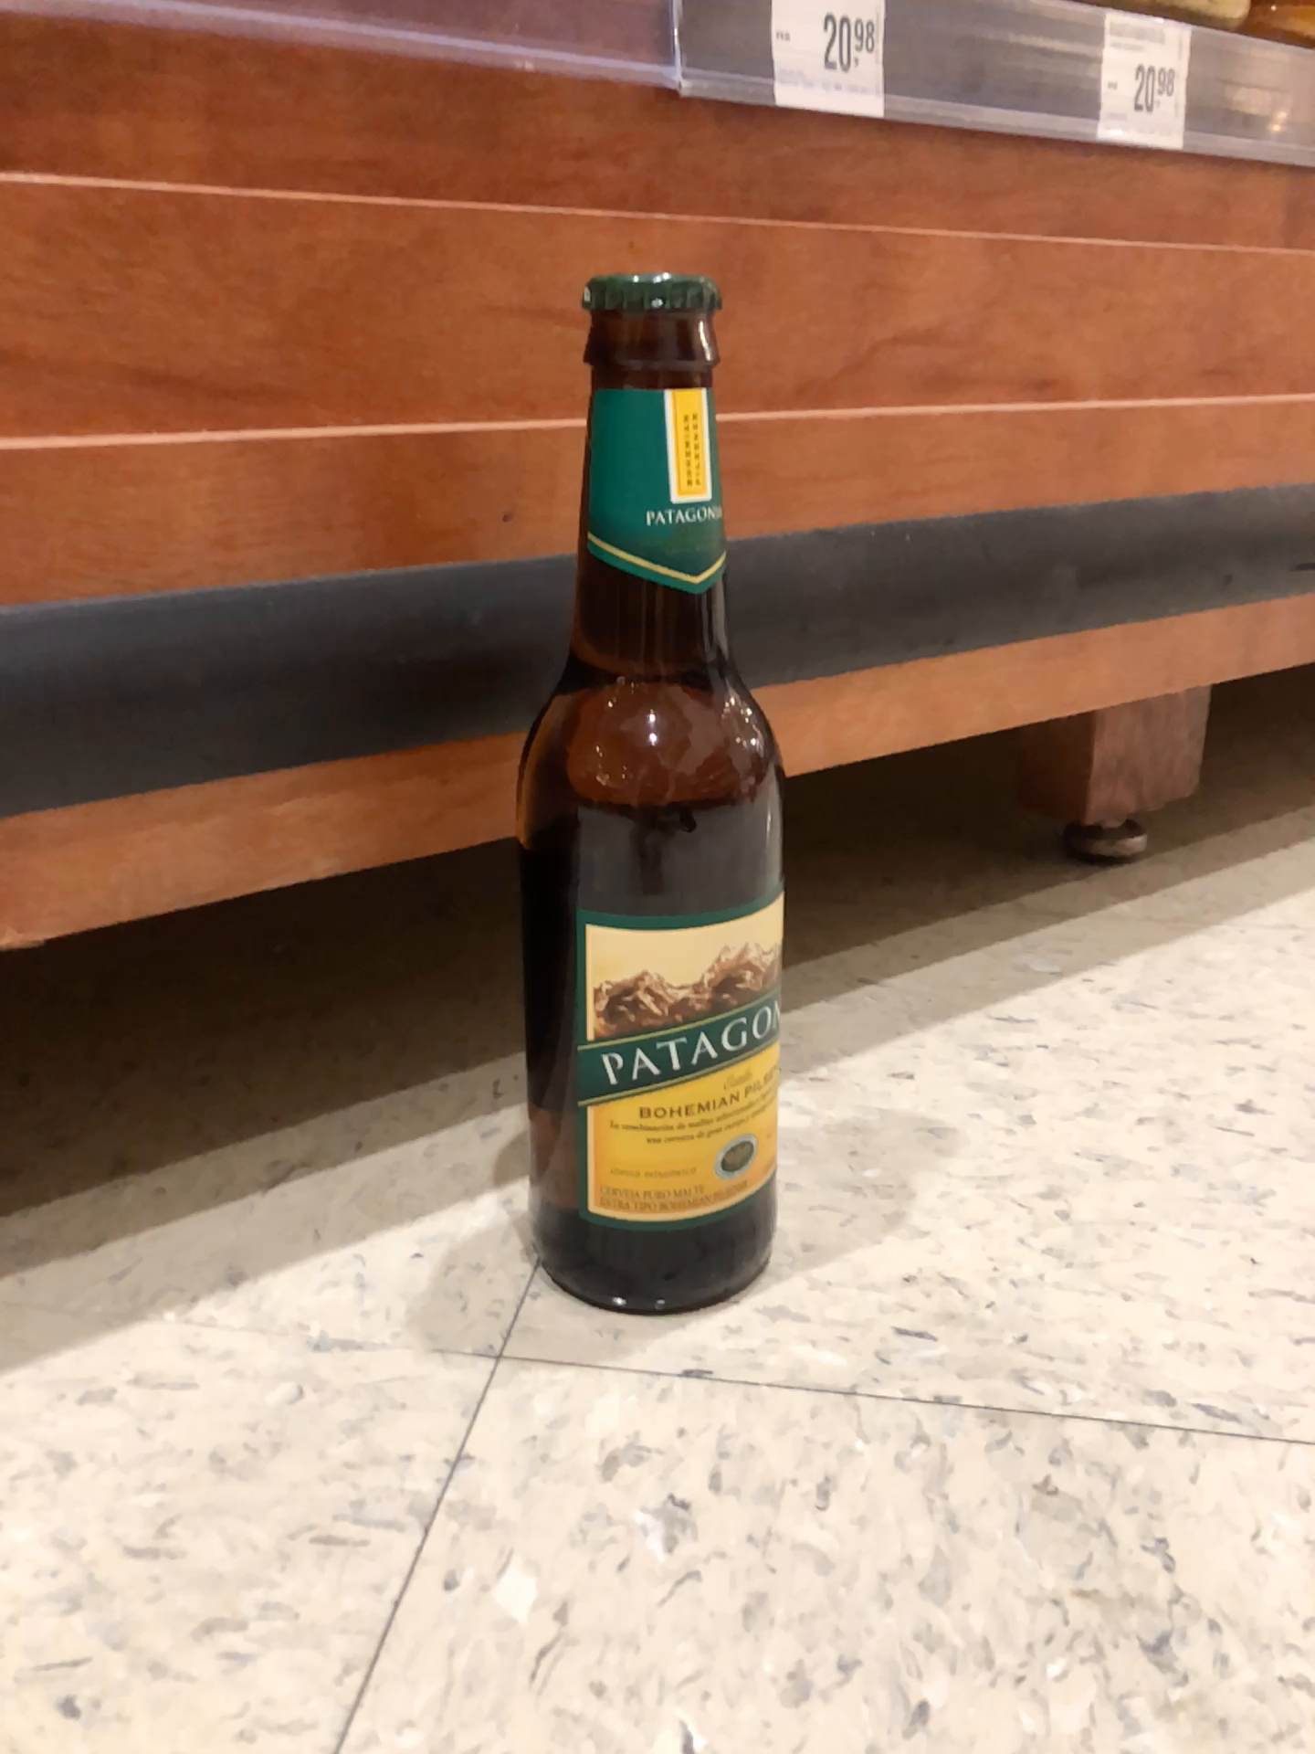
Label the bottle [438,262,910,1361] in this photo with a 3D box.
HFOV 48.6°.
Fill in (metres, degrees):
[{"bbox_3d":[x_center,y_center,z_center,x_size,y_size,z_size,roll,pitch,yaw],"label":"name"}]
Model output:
[{"bbox_3d":[0.003,-0.014,0.320,0.070,0.219,0.060,-13,23,-33],"label":"bottle"}]
